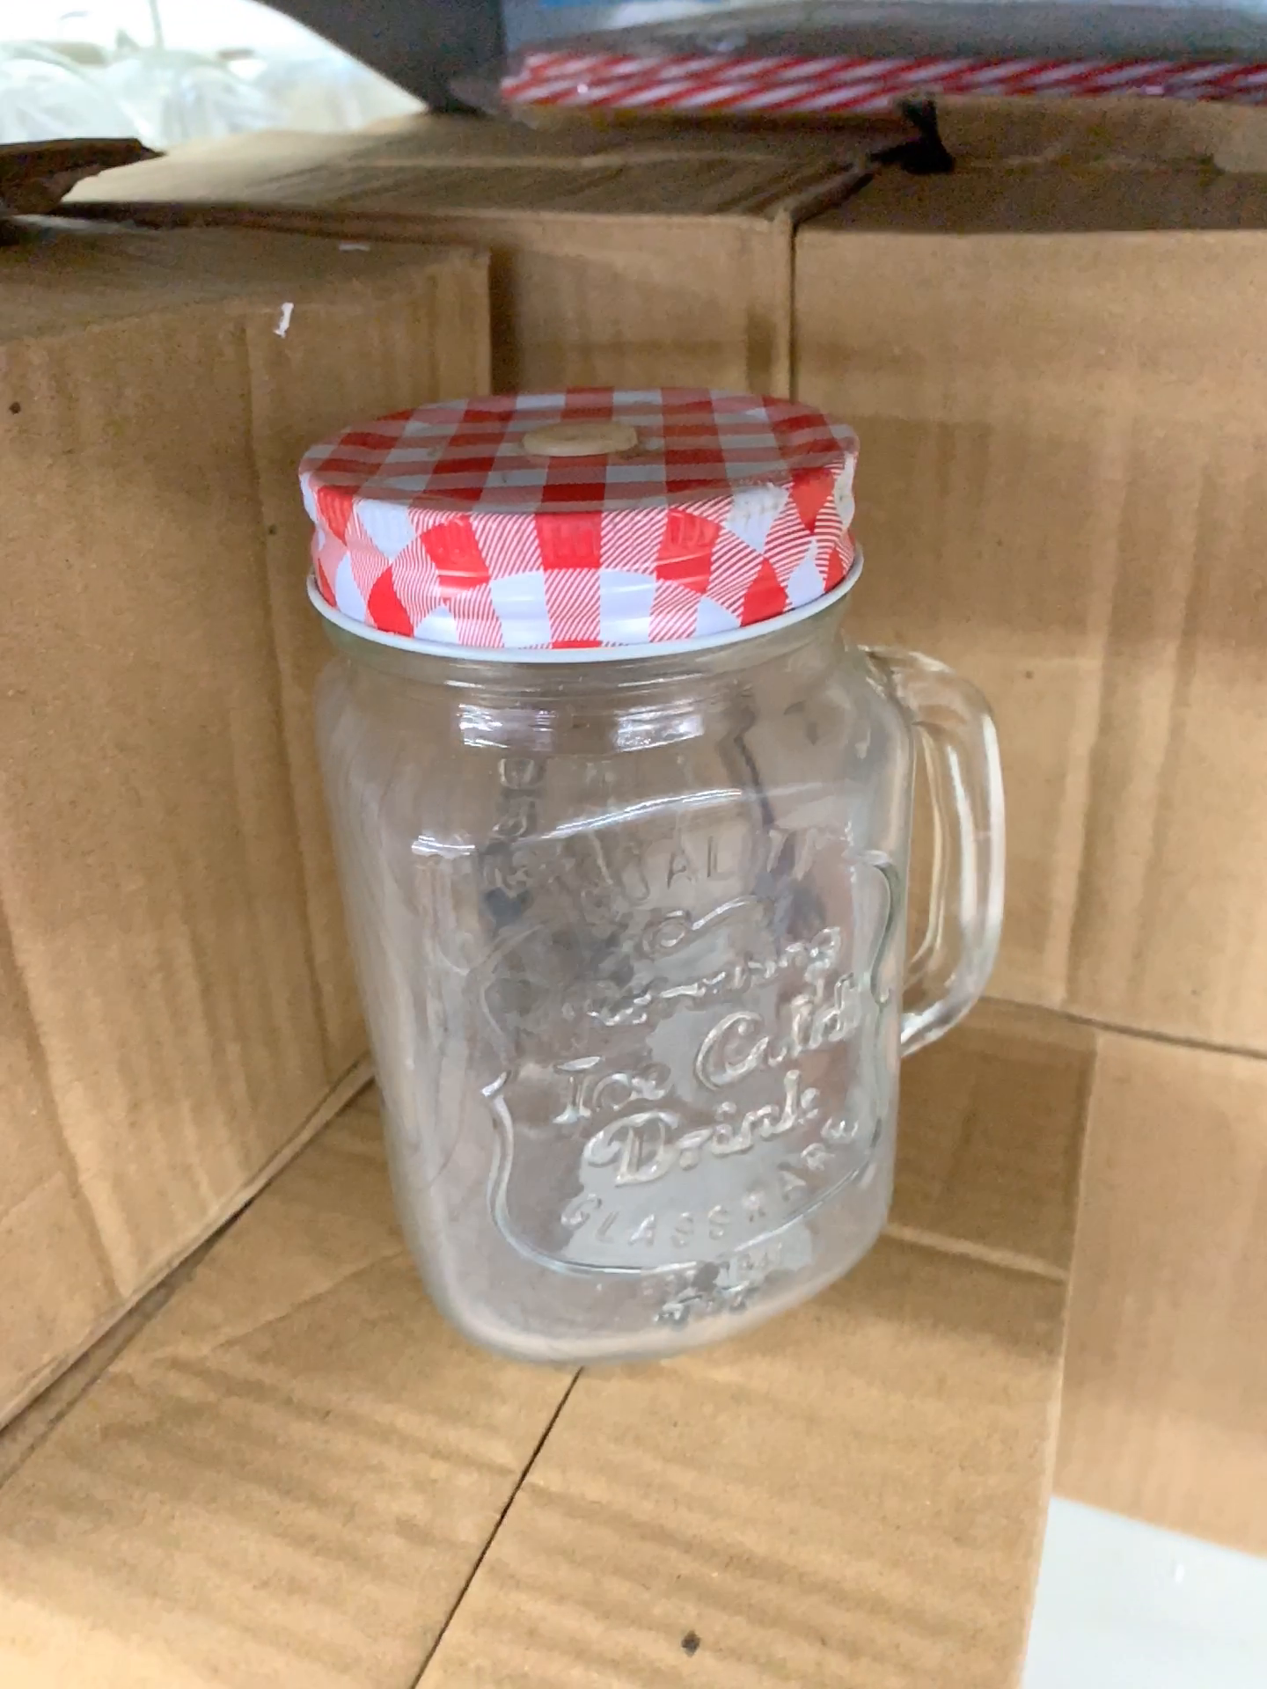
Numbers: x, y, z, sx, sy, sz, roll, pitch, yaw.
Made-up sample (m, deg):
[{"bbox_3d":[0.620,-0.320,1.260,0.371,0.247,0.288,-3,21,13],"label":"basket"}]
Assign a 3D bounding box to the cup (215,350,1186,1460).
[{"bbox_3d":[0.005,0.001,0.193,0.100,0.119,0.081,-11,27,-11],"label":"cup"}]
